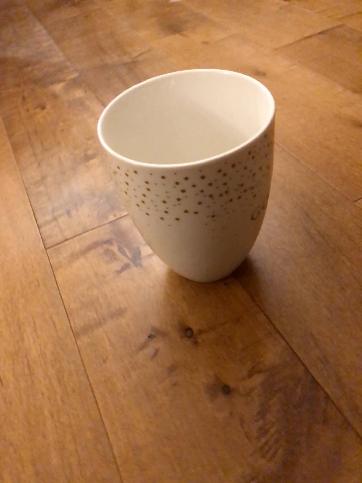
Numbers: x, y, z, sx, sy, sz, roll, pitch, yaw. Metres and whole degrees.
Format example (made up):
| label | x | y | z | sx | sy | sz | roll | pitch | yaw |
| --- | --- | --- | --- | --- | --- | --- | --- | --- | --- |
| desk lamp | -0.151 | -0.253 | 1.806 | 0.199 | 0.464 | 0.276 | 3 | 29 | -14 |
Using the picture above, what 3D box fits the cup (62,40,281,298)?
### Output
| label | x | y | z | sx | sy | sz | roll | pitch | yaw |
| --- | --- | --- | --- | --- | --- | --- | --- | --- | --- |
| cup | 0.010 | -0.052 | 0.283 | 0.110 | 0.109 | 0.141 | 0 | 47 | 12 |
